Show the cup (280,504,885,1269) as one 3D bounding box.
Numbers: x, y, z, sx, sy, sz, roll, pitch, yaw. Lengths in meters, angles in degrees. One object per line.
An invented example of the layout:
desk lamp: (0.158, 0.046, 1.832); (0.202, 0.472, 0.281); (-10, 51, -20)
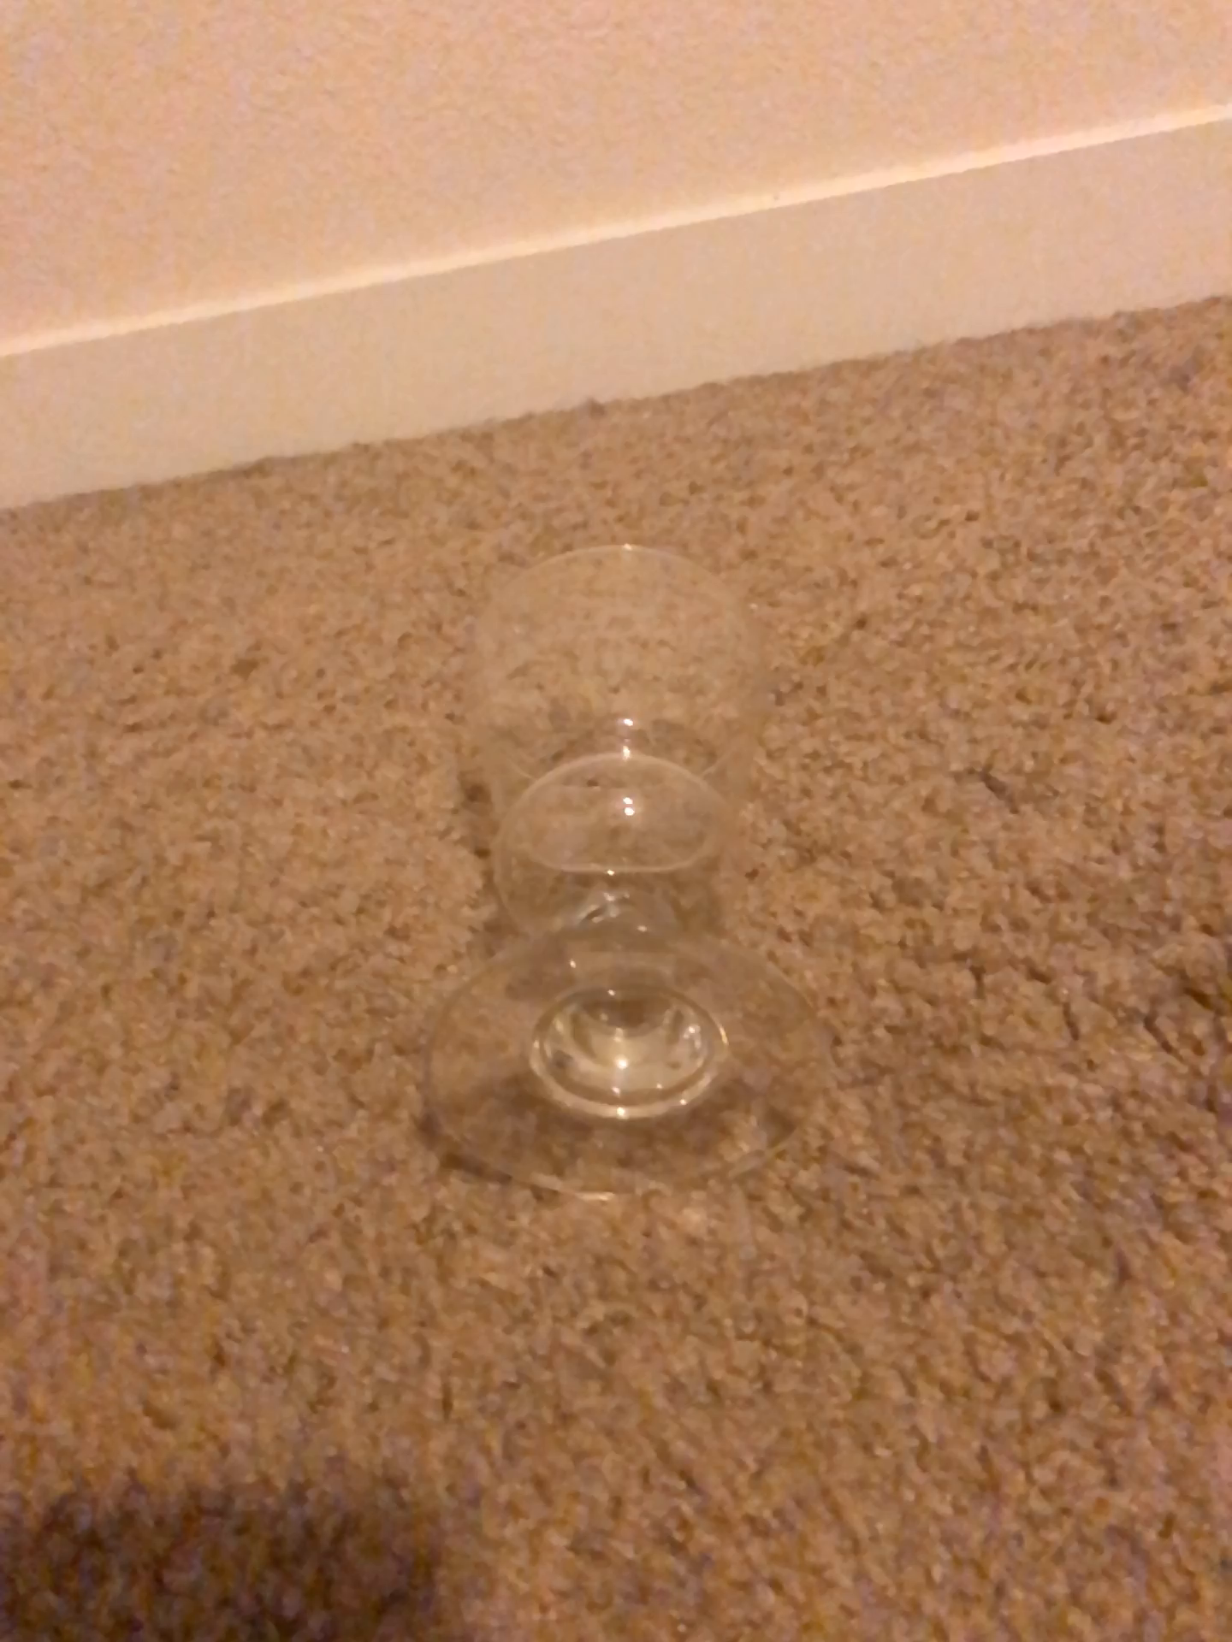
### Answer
cup: (-0.005, 0.005, 0.313); (0.094, 0.078, 0.158); (-11, 35, 6)
